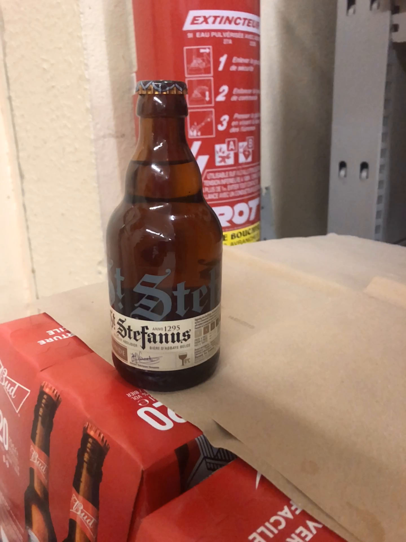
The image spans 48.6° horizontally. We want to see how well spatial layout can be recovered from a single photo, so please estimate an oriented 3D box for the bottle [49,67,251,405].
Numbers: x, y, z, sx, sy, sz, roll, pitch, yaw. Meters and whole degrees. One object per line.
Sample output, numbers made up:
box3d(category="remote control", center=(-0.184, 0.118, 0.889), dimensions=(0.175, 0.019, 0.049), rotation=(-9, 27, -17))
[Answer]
box3d(category="bottle", center=(-0.024, -0.024, 0.273), dimensions=(0.080, 0.169, 0.080), rotation=(-1, 17, 0))
